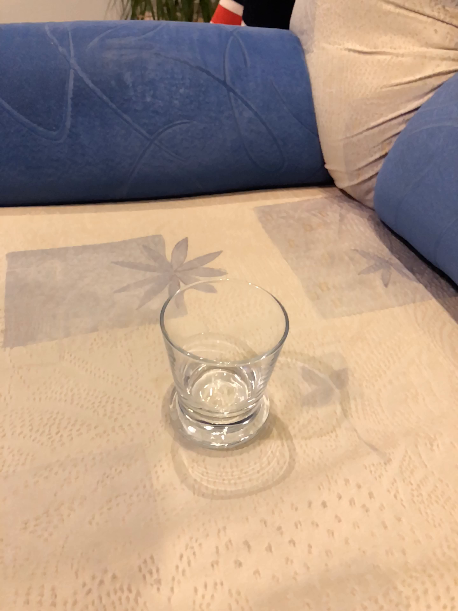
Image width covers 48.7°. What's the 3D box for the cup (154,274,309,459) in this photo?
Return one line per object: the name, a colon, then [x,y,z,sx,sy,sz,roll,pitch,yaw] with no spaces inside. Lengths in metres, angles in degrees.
cup: [-0.005,0.039,0.342,0.086,0.083,0.085,2,37,-2]
